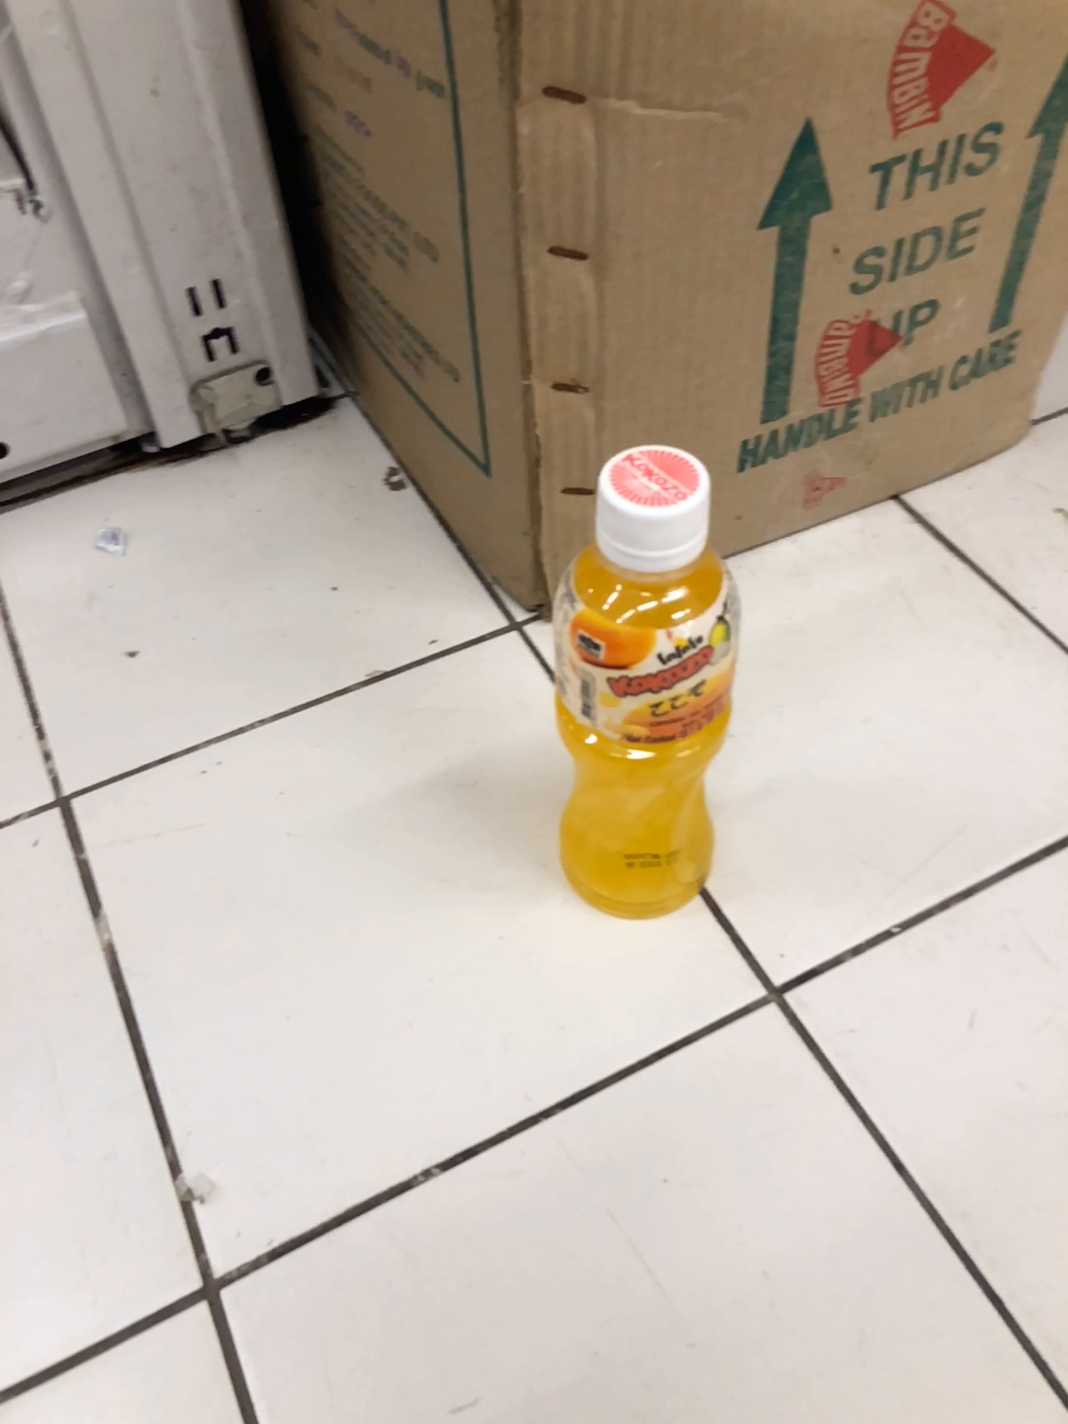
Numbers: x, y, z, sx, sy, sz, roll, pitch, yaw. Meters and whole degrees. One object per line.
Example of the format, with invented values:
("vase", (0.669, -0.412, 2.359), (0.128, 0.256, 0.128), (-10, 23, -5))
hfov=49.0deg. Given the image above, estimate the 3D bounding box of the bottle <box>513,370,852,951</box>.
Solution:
("bottle", (0.040, -0.007, 0.378), (0.070, 0.179, 0.070), (-1, 49, 2))
